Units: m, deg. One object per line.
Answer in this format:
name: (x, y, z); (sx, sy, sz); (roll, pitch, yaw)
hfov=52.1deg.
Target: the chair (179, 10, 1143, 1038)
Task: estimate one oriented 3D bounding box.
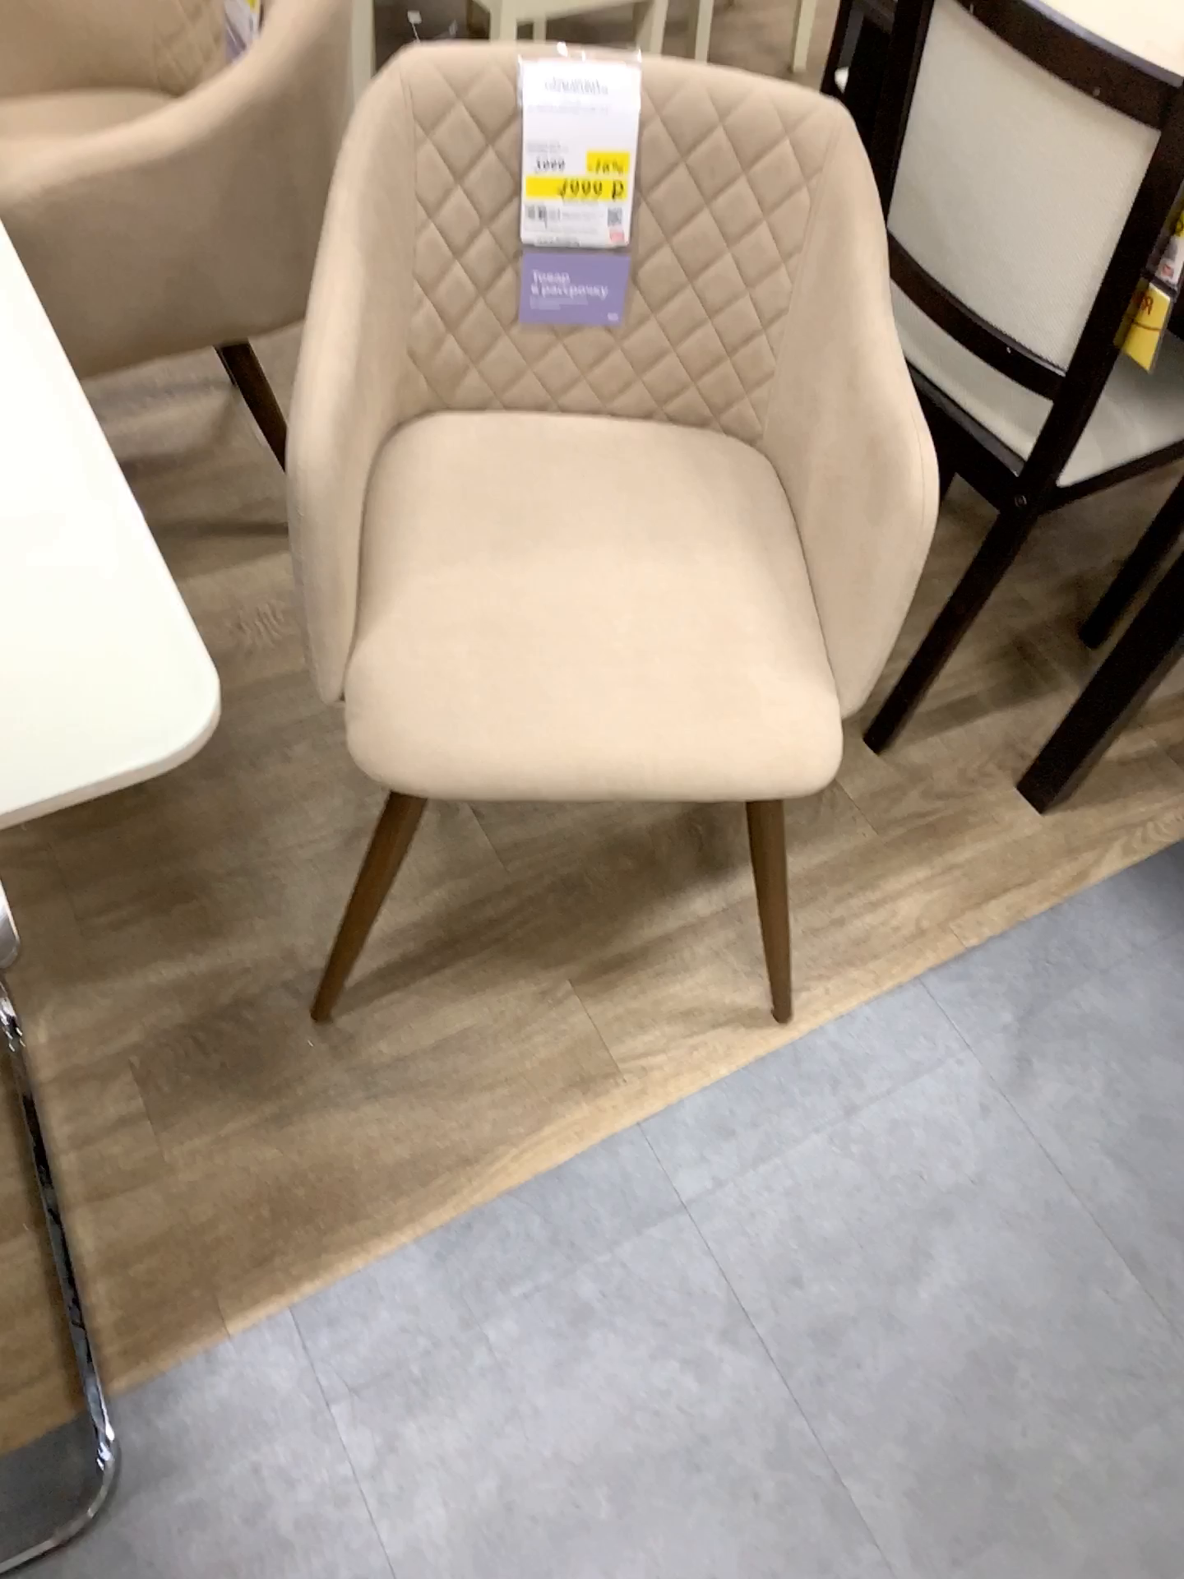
chair: (-0.008, -0.181, 1.244); (0.600, 0.836, 0.573); (1, 56, -8)
